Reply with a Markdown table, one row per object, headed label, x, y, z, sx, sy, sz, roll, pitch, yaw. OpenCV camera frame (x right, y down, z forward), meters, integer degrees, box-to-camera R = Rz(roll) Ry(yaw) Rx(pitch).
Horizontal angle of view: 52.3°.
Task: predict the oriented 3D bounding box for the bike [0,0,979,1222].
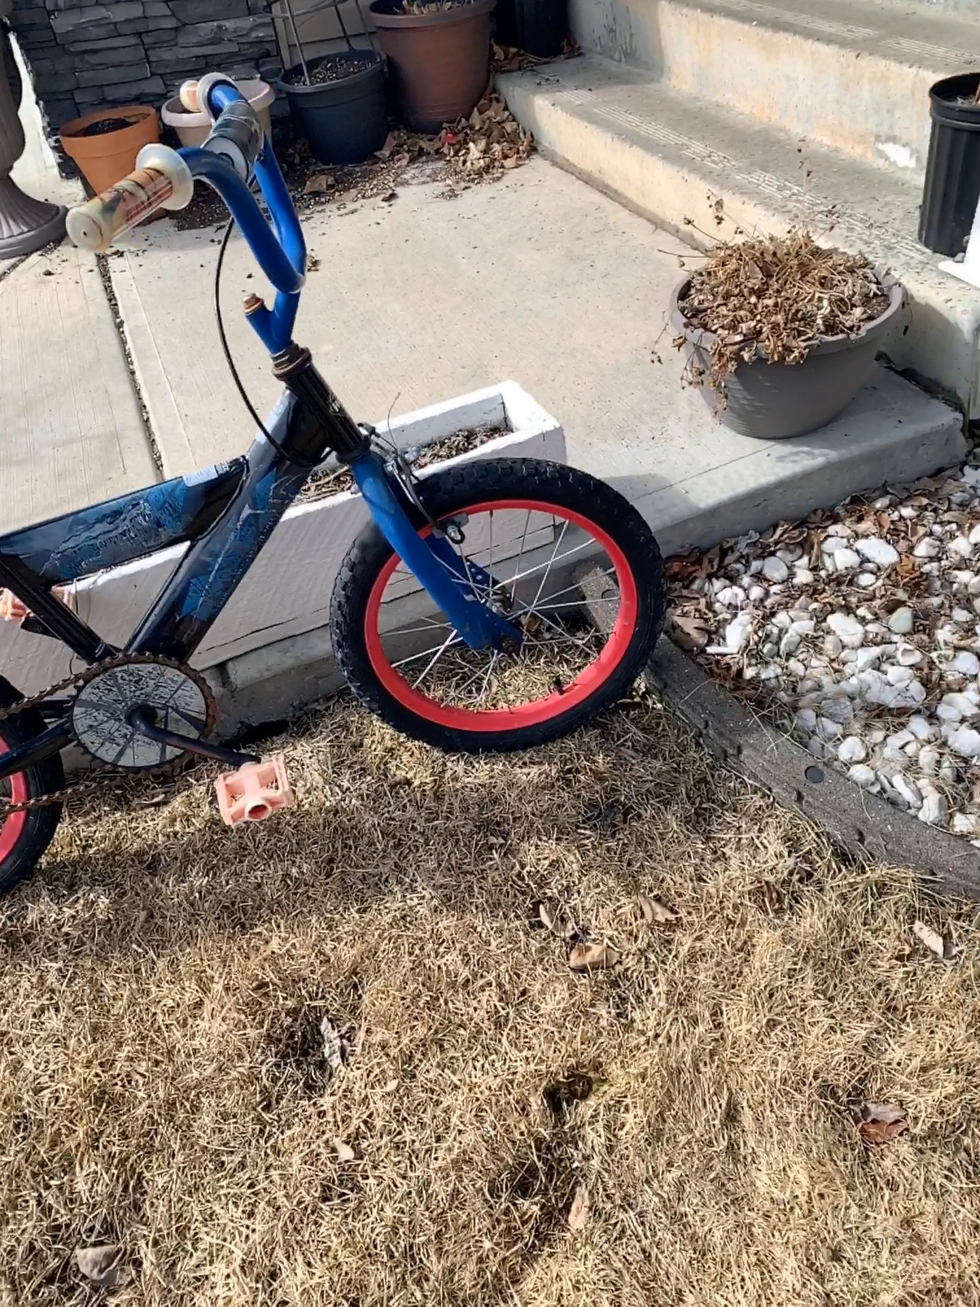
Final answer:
| label | x | y | z | sx | sy | sz | roll | pitch | yaw |
| --- | --- | --- | --- | --- | --- | --- | --- | --- | --- |
| bike | -0.314 | -0.084 | 0.844 | 1.023 | 0.728 | 0.538 | -17 | 42 | -4 |
